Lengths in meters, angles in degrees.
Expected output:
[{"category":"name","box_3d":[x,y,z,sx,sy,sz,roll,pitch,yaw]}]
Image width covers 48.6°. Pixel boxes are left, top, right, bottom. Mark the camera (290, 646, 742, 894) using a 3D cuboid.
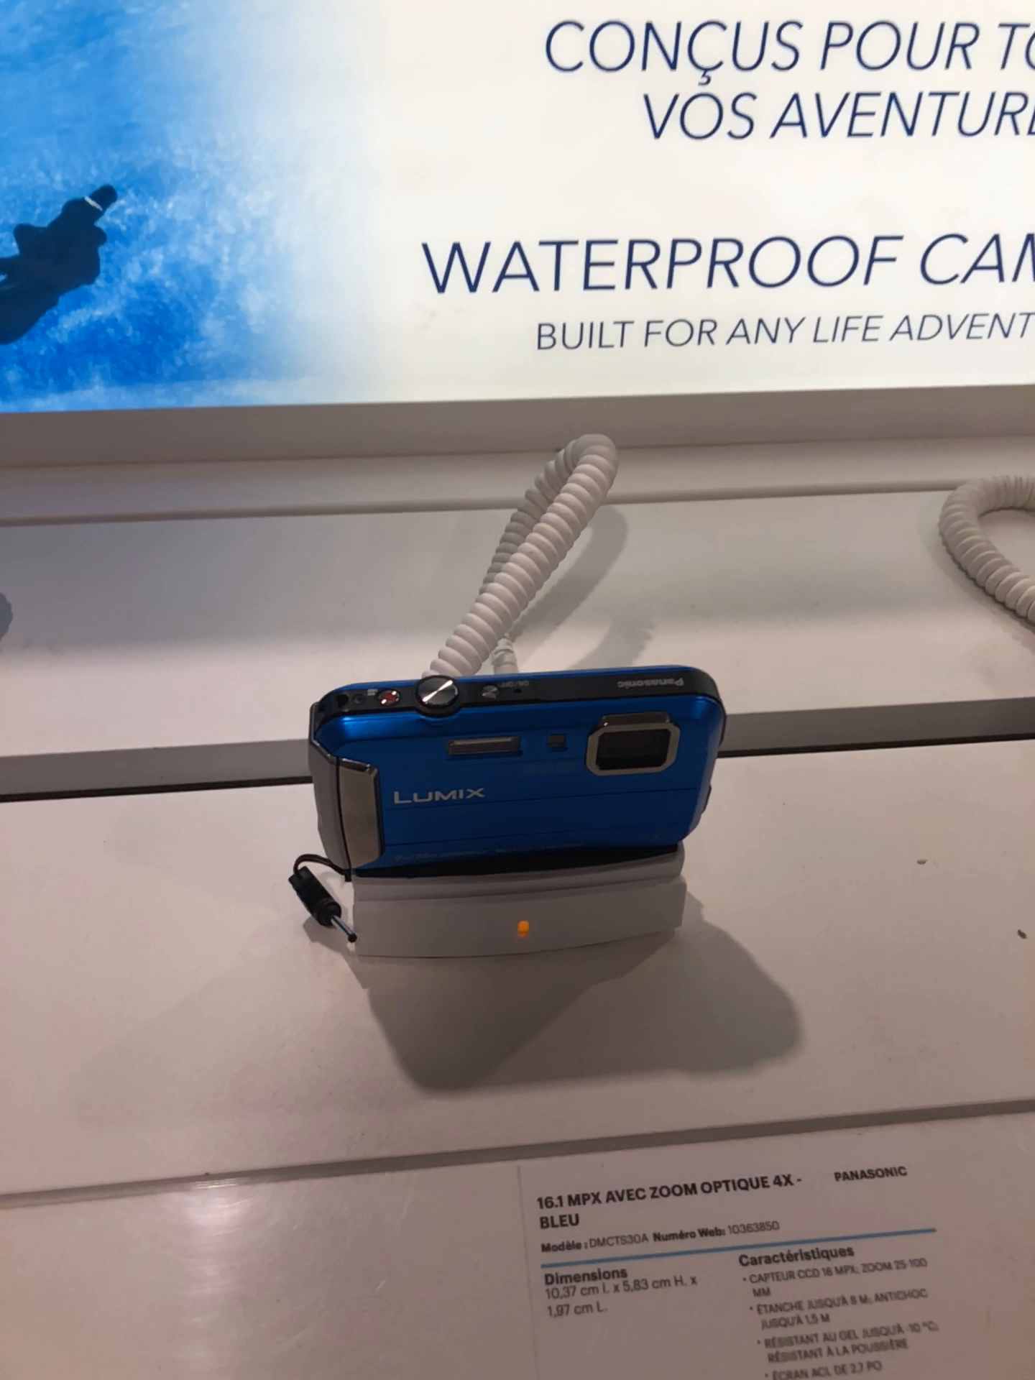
[{"category":"camera","box_3d":[-0.001,0.021,0.294,0.106,0.060,0.020,-4,43,-6]}]
